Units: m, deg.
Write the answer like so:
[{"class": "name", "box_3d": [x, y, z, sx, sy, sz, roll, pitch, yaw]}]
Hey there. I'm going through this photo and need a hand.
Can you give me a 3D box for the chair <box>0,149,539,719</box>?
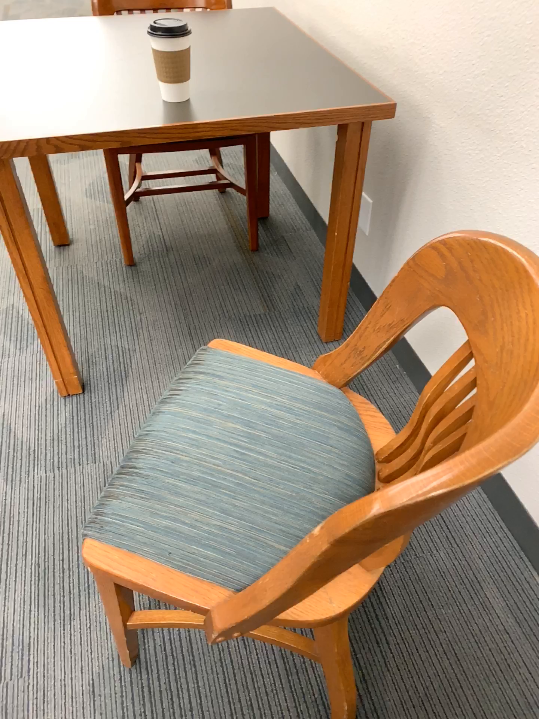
[{"class": "chair", "box_3d": [0.056, 0.190, 0.871, 0.620, 0.747, 0.552, 14, 46, 13]}]
